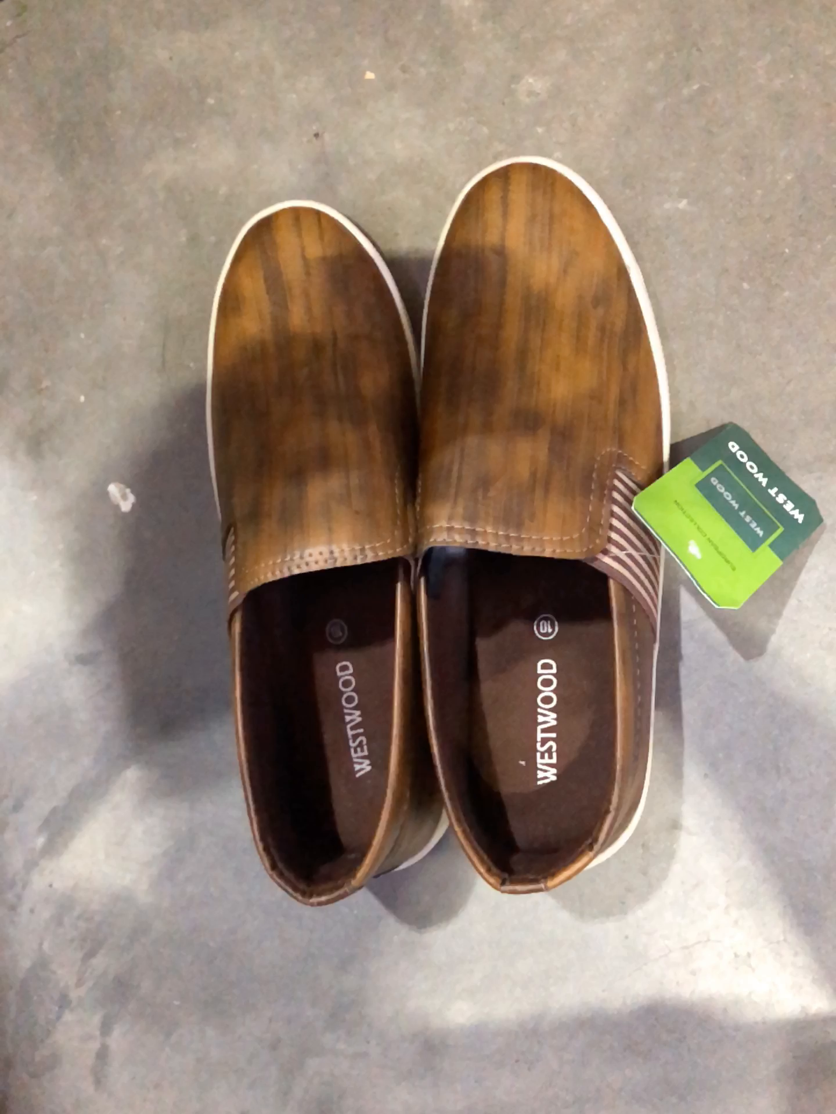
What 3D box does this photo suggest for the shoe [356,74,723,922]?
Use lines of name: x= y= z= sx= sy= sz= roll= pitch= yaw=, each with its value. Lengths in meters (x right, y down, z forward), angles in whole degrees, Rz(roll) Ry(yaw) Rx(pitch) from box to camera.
shoe: x=0.050 y=-0.018 z=0.374 sx=0.110 sy=0.100 sz=0.290 roll=-5 pitch=84 yaw=15

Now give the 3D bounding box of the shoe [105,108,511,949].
shoe: x=-0.041 y=-0.009 z=0.379 sx=0.100 sy=0.100 sz=0.290 roll=-10 pitch=82 yaw=14
